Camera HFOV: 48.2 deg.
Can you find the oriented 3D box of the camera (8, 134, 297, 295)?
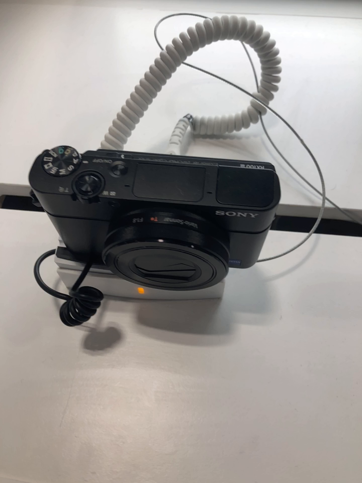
[{"bbox_3d":[-0.010,-0.009,0.190,0.110,0.070,0.030,6,59,5],"label":"camera"}]
